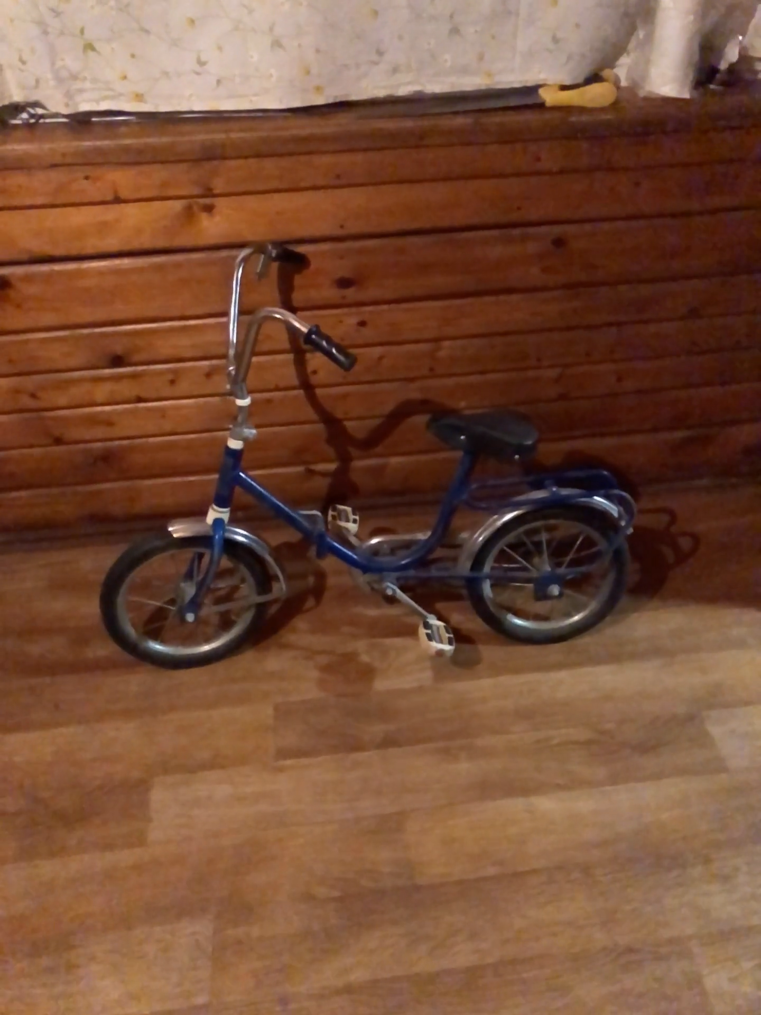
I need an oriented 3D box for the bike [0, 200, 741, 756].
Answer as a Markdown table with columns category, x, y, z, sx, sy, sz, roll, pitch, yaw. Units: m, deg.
| category | x | y | z | sx | sy | sz | roll | pitch | yaw |
| --- | --- | --- | --- | --- | --- | --- | --- | --- | --- |
| bike | -0.027 | -0.068 | 1.435 | 0.956 | 0.697 | 0.597 | -3 | 41 | -5 |
